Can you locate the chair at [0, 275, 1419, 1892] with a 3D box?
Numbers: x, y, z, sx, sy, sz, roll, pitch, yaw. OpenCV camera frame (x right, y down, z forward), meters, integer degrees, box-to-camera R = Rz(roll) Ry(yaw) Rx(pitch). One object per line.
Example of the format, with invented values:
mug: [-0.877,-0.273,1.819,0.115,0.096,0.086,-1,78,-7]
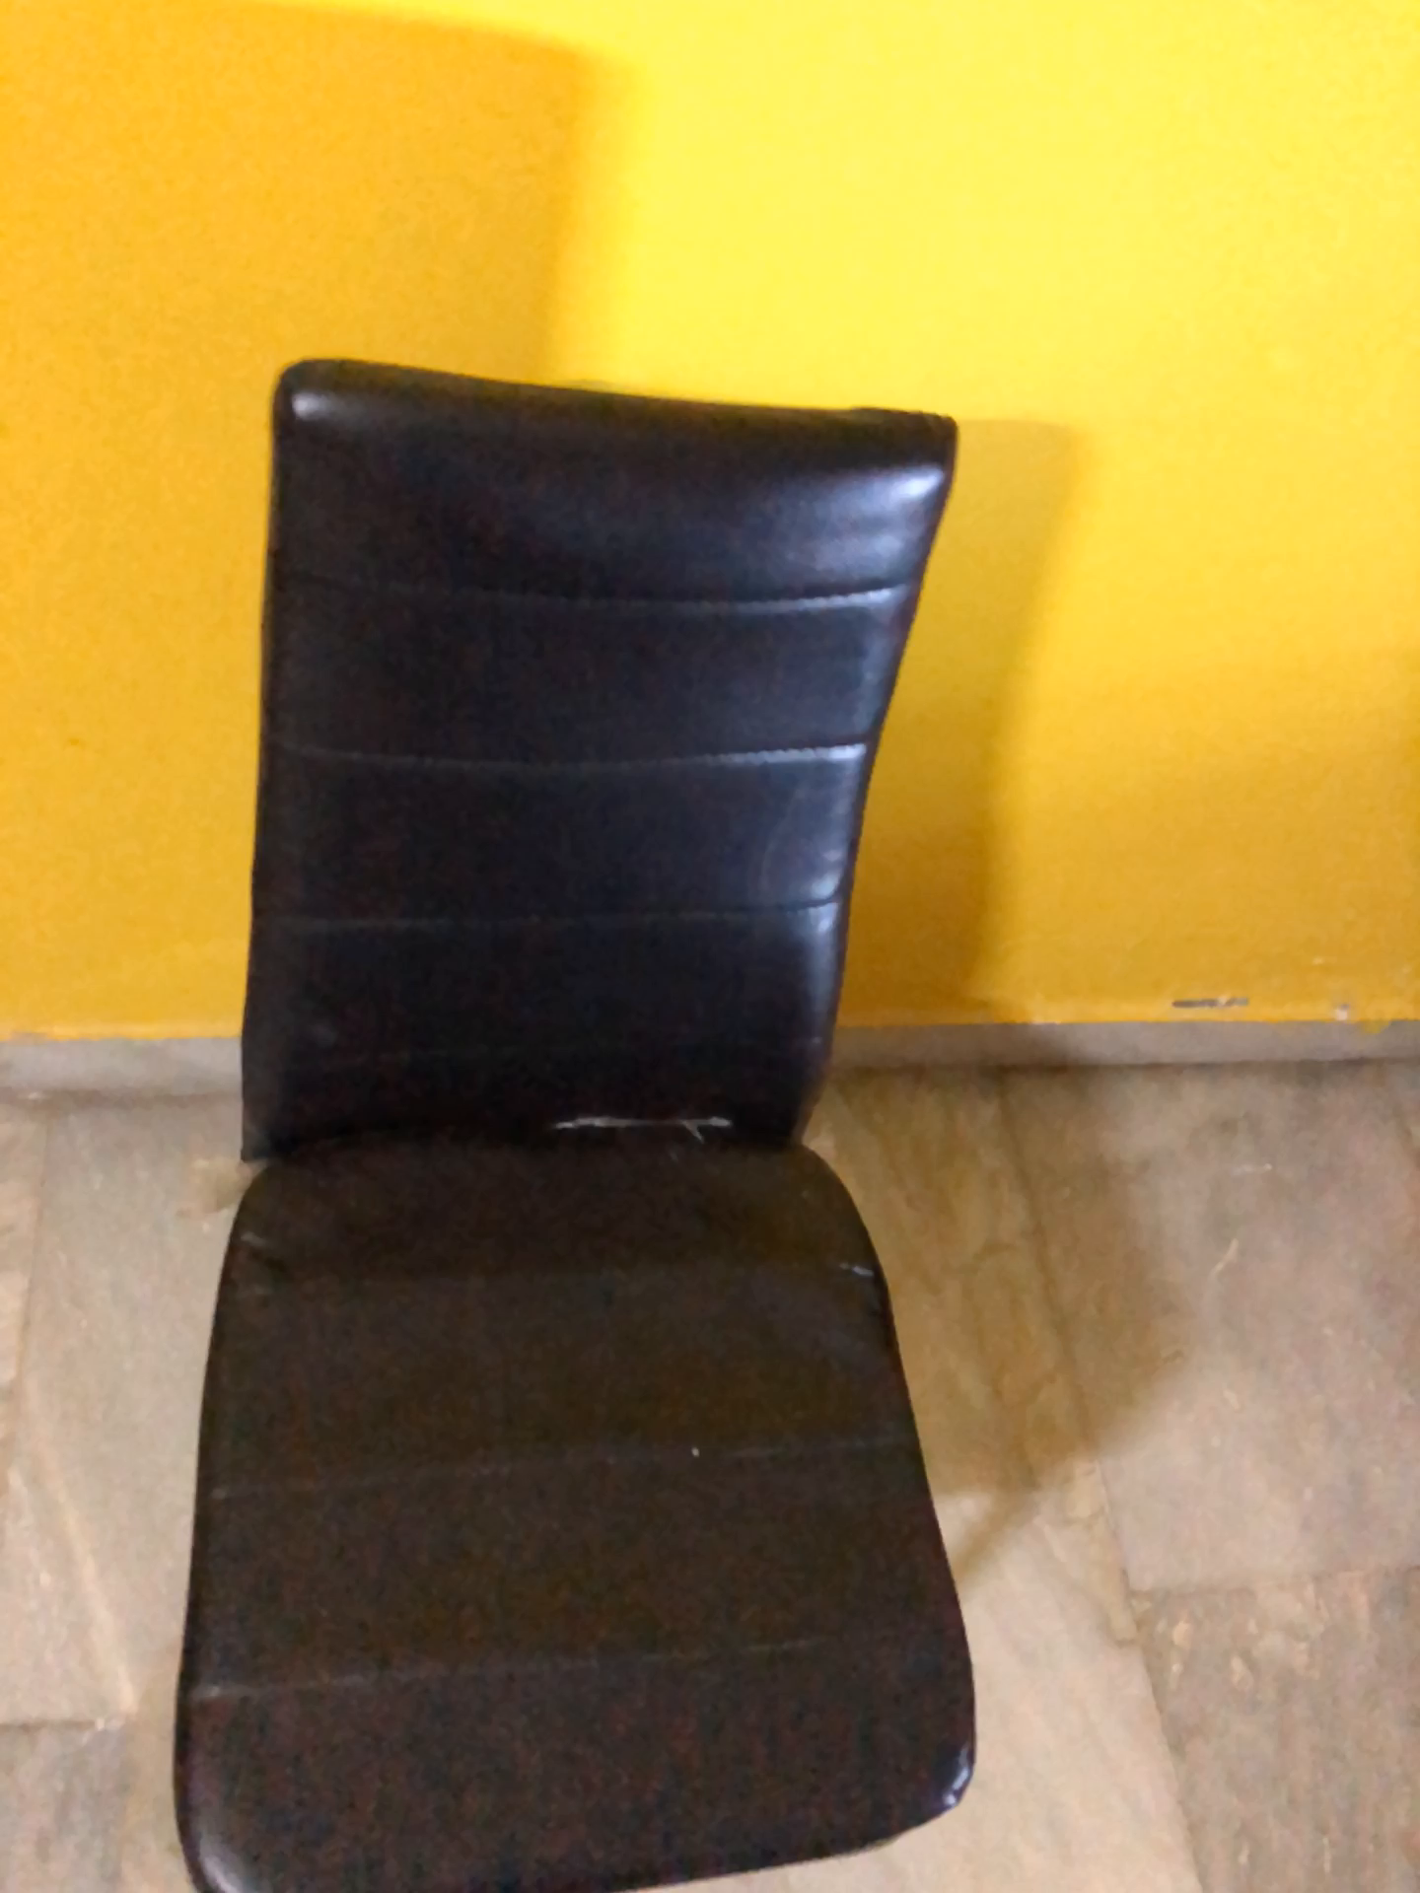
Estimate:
chair: [-0.064,0.223,0.859,0.481,0.905,0.532,1,57,-13]
